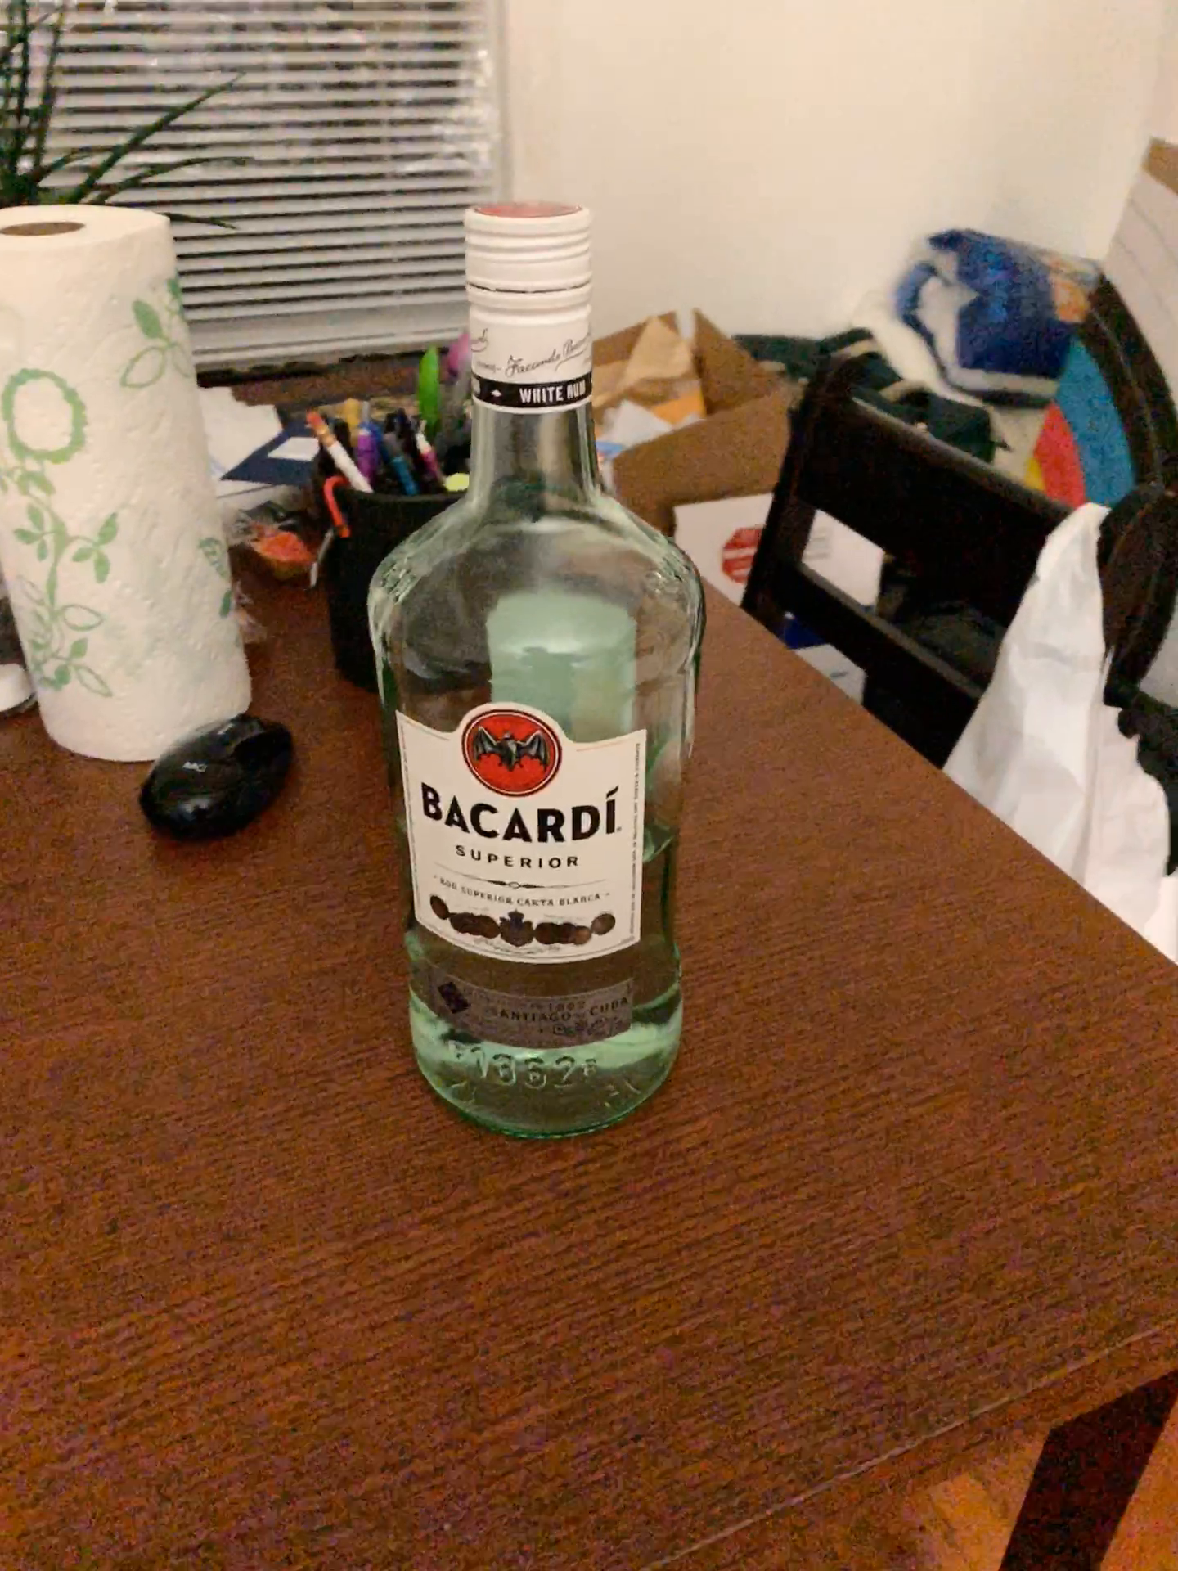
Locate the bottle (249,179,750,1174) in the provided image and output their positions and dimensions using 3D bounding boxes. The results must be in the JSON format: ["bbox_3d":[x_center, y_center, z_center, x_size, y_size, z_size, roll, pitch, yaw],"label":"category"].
[{"bbox_3d":[-0.016,-0.026,0.435,0.120,0.328,0.121,0,33,0],"label":"bottle"}]
